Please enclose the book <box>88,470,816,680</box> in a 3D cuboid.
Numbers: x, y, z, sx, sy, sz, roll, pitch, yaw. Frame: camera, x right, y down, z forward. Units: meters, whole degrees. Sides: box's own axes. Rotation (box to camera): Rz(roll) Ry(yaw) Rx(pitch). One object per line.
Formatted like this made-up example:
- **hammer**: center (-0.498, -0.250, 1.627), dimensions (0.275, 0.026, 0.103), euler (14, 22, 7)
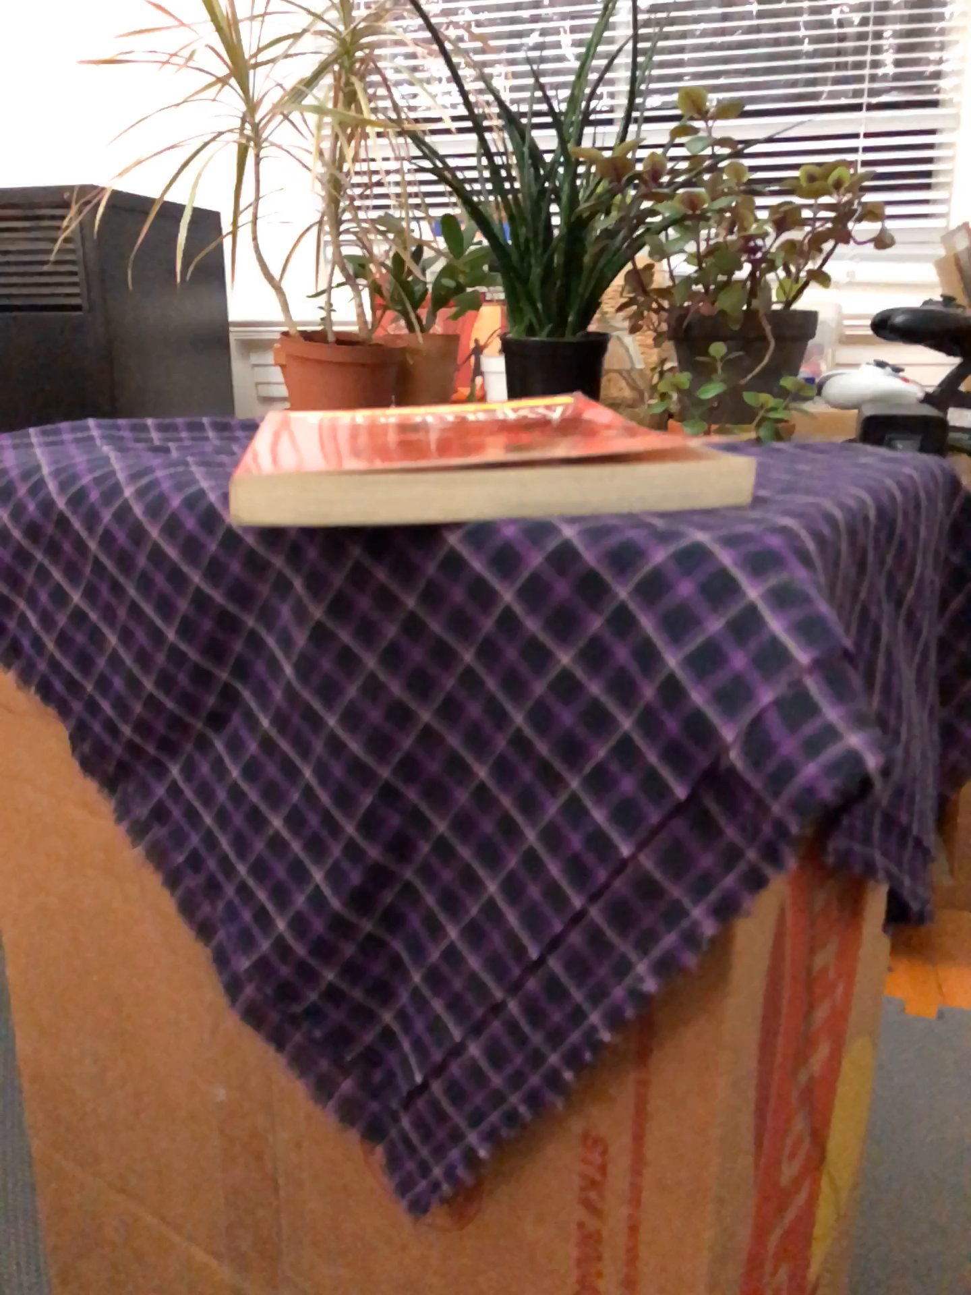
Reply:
- **book**: center (-0.023, -0.038, 0.378), dimensions (0.180, 0.020, 0.241), euler (-3, 16, -9)
